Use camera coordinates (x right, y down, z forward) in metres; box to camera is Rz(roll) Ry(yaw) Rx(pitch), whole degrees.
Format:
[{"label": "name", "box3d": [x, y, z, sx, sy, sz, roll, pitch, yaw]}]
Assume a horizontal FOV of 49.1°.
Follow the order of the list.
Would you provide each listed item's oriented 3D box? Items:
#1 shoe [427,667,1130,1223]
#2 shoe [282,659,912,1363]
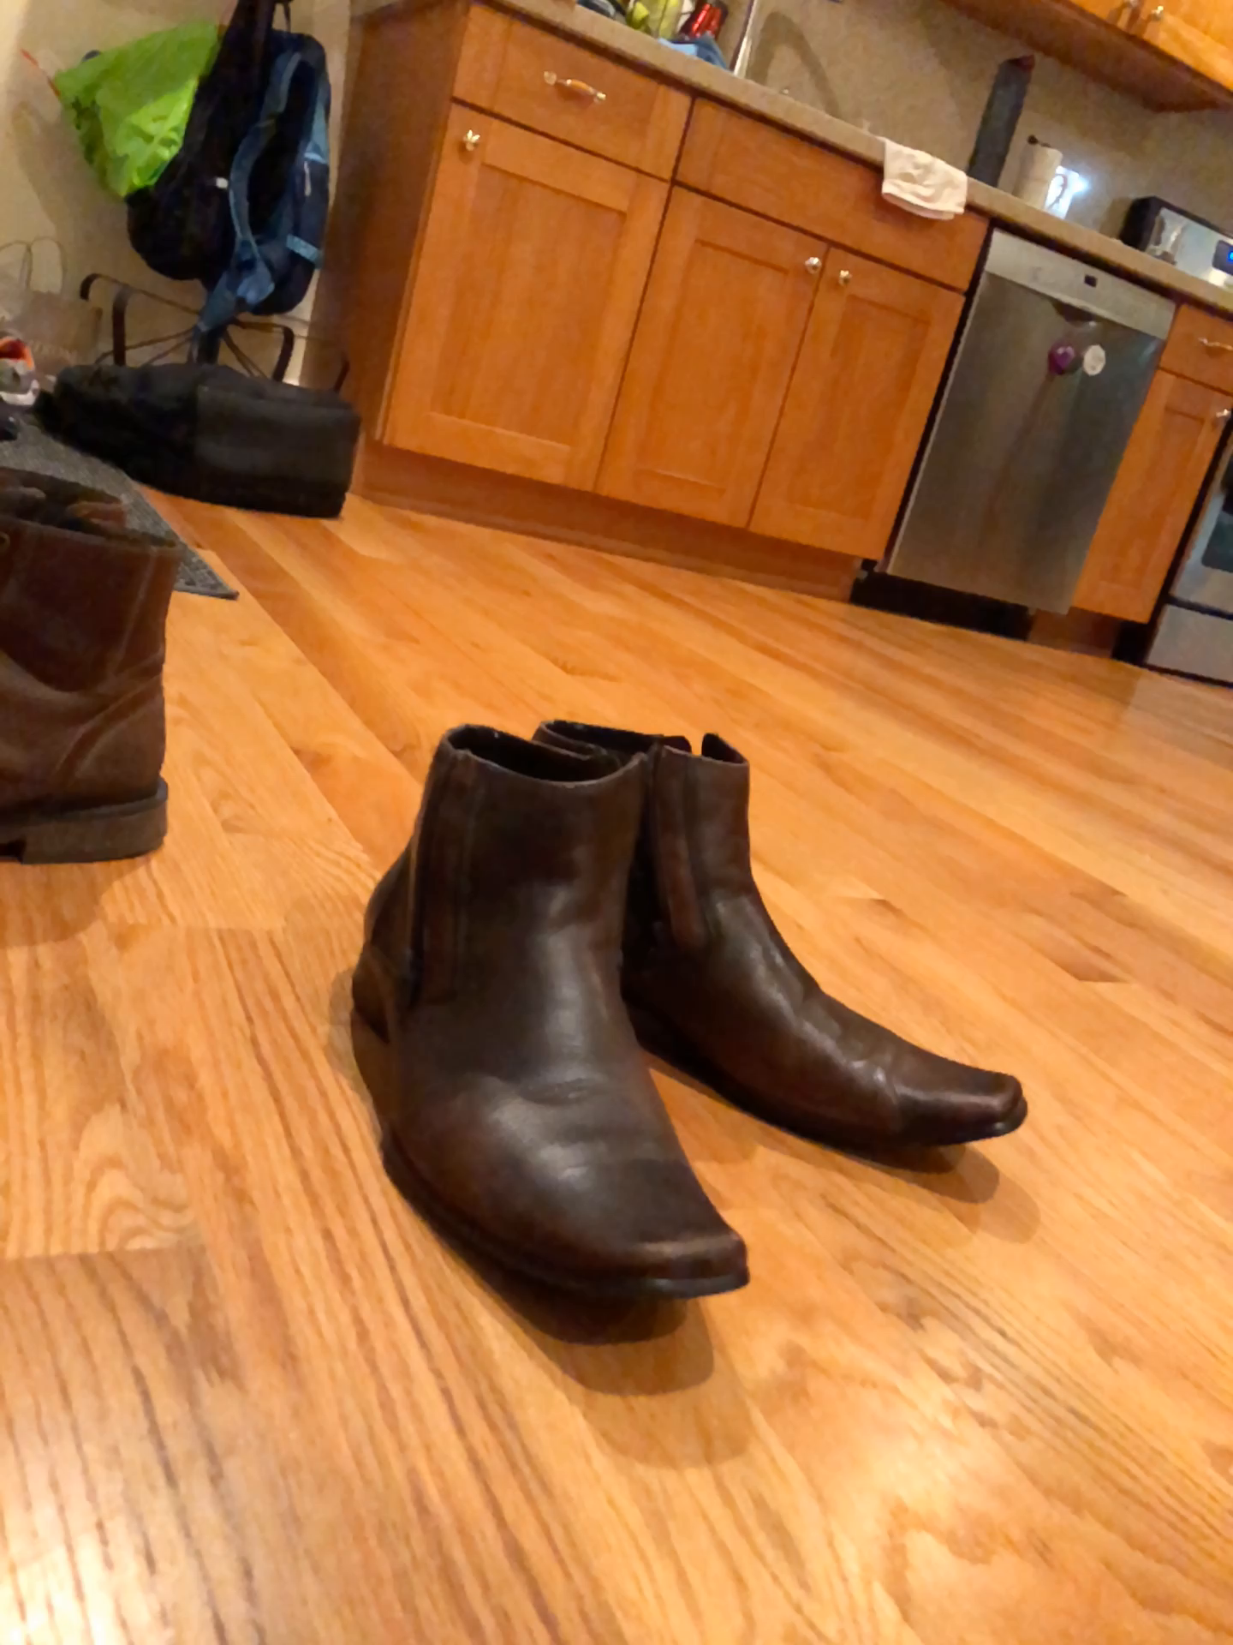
[{"label": "shoe", "box3d": [0.075, 0.045, 0.677, 0.300, 0.152, 0.109, 22, 17, 21]}, {"label": "shoe", "box3d": [-0.034, 0.051, 0.543, 0.109, 0.143, 0.291, 6, 19, -30]}]
